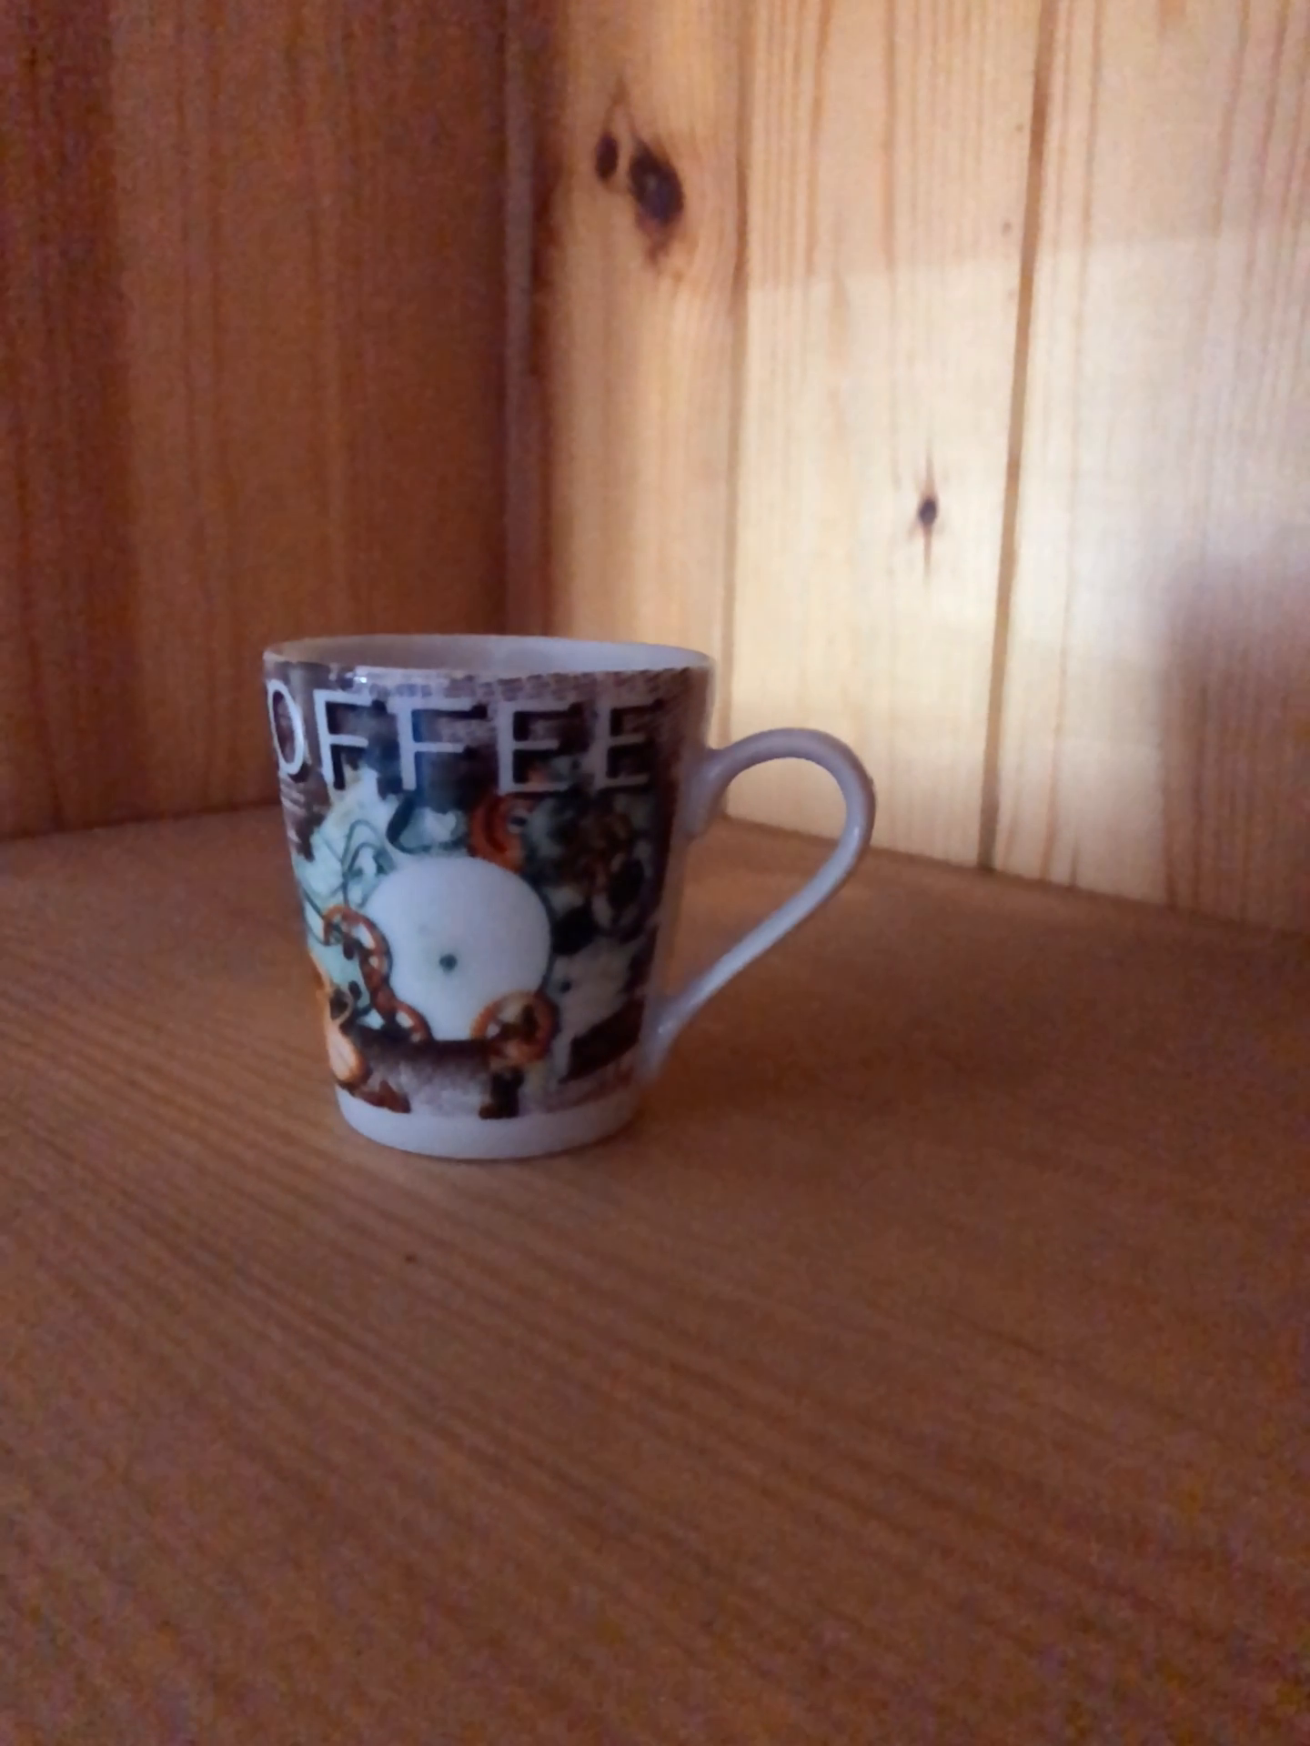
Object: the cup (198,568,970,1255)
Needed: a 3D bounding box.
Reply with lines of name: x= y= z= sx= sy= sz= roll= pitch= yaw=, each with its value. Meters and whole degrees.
cup: x=-0.007 y=-0.003 z=0.195 sx=0.080 sy=0.070 sz=0.060 roll=8 pitch=14 yaw=24
